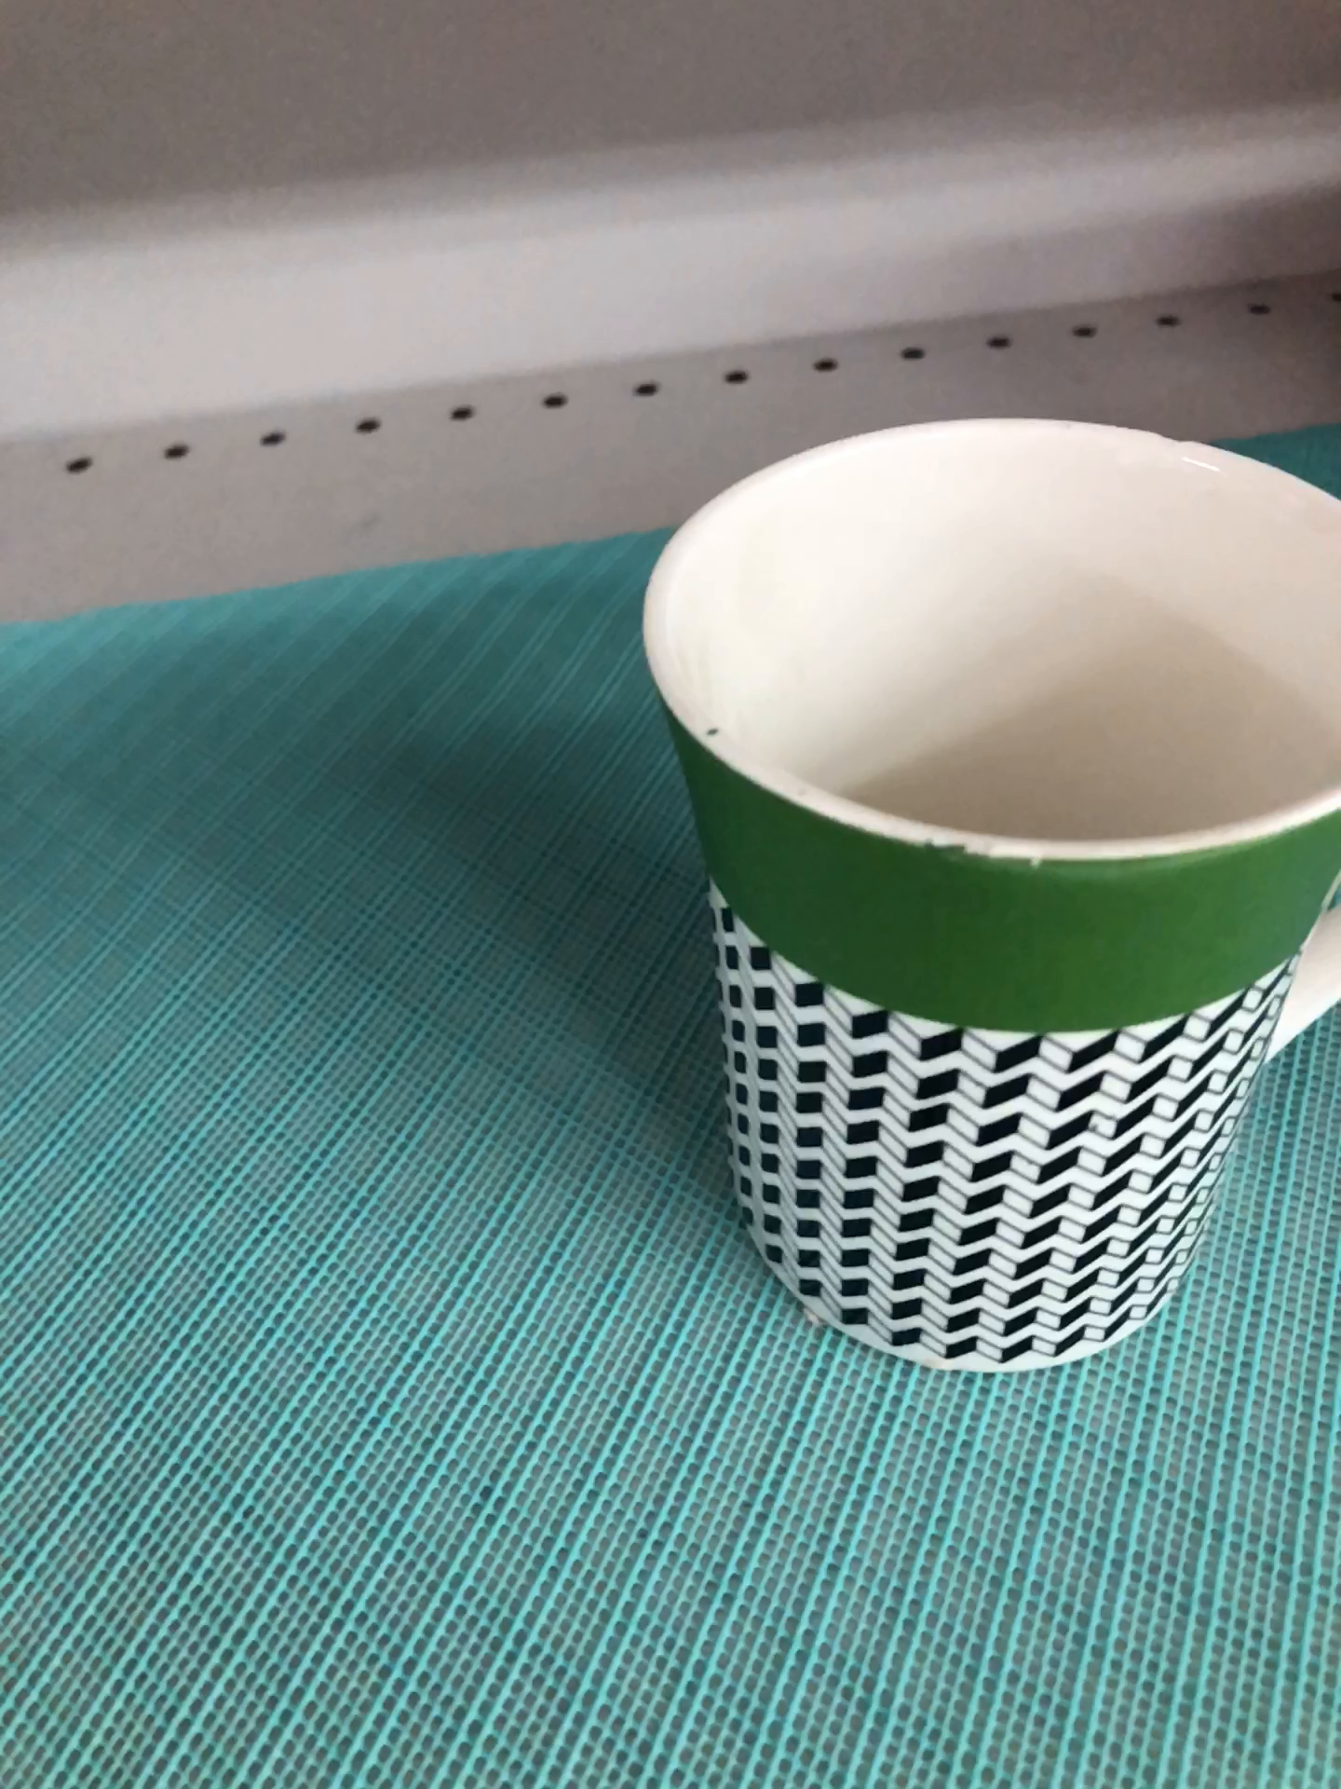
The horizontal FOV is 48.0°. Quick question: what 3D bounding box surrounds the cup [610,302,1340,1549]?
[{"bbox_3d":[0.059,0.001,0.180,0.110,0.099,0.080,-13,44,-12],"label":"cup"}]
